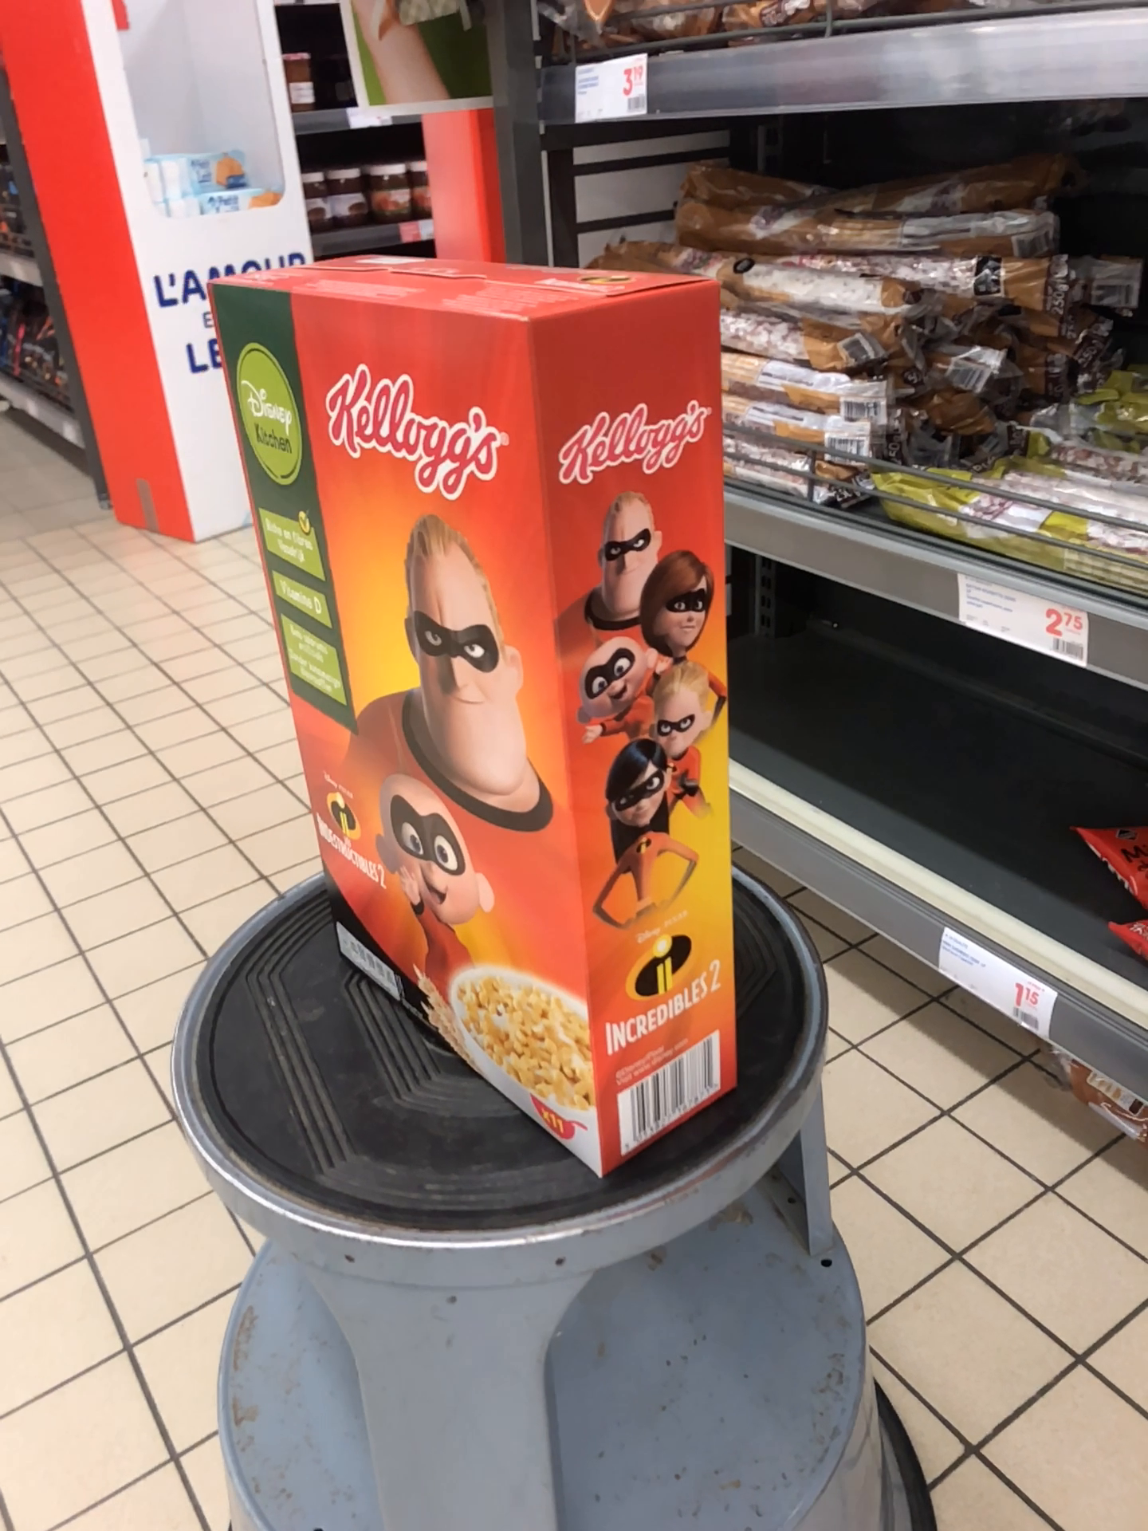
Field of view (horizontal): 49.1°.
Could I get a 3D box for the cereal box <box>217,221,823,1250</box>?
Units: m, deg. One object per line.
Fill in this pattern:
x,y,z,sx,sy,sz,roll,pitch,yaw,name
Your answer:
-0.018,-0.019,0.447,0.080,0.308,0.200,-23,33,-31,cereal box
